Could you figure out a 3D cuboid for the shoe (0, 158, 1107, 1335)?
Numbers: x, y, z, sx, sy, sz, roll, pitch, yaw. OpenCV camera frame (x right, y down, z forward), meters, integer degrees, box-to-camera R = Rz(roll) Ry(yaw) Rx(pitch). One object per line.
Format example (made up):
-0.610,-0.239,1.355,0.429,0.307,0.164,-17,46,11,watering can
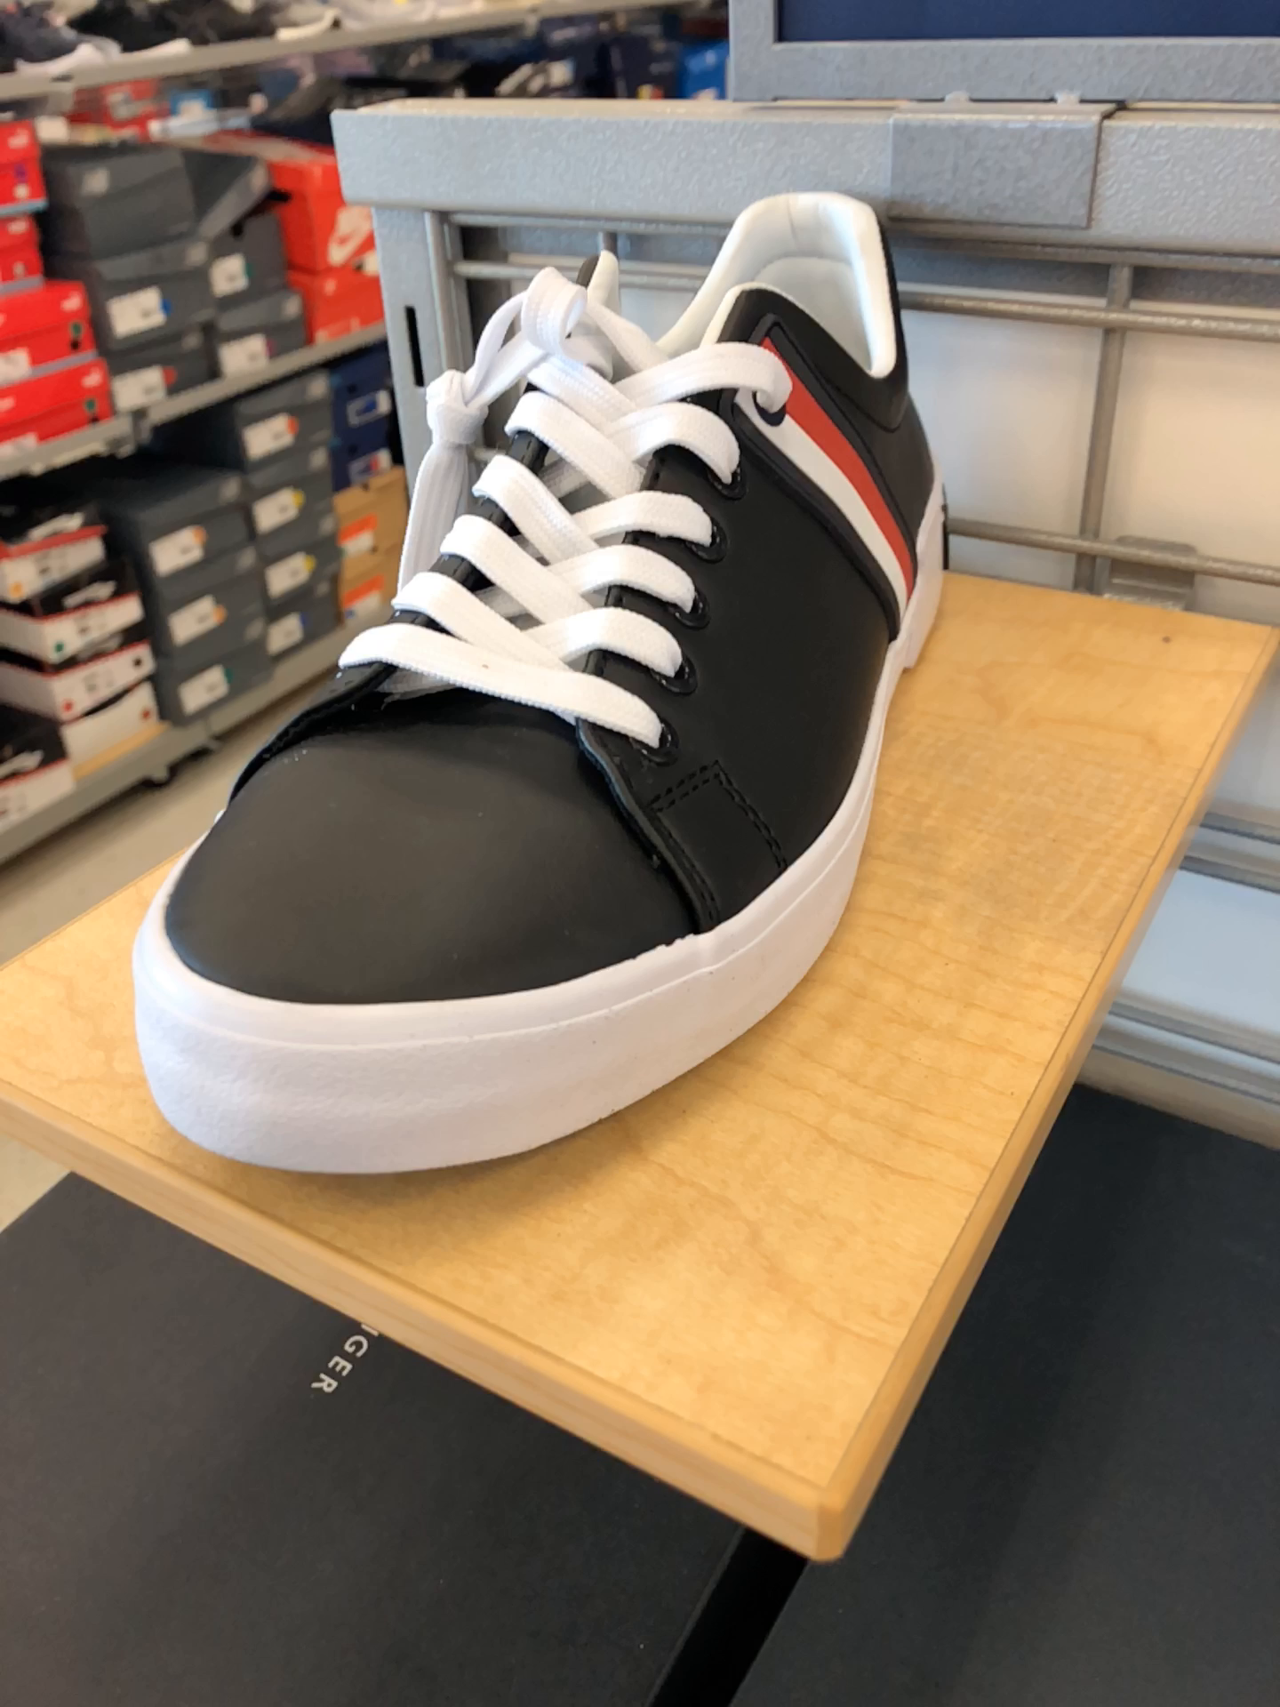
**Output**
0.011,-0.064,0.275,0.100,0.089,0.292,12,35,20,shoe
